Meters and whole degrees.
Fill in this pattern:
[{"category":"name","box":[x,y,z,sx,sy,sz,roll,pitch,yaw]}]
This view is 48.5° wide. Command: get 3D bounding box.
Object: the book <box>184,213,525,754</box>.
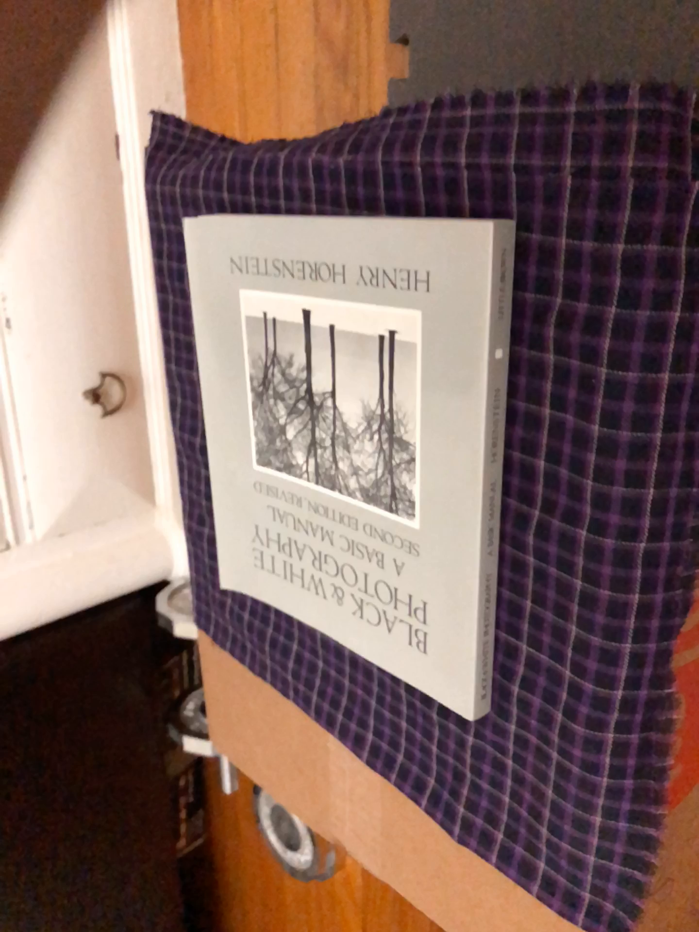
[{"category":"book","box":[-0.009,-0.005,0.421,0.211,0.030,0.250,19,117,44]}]
